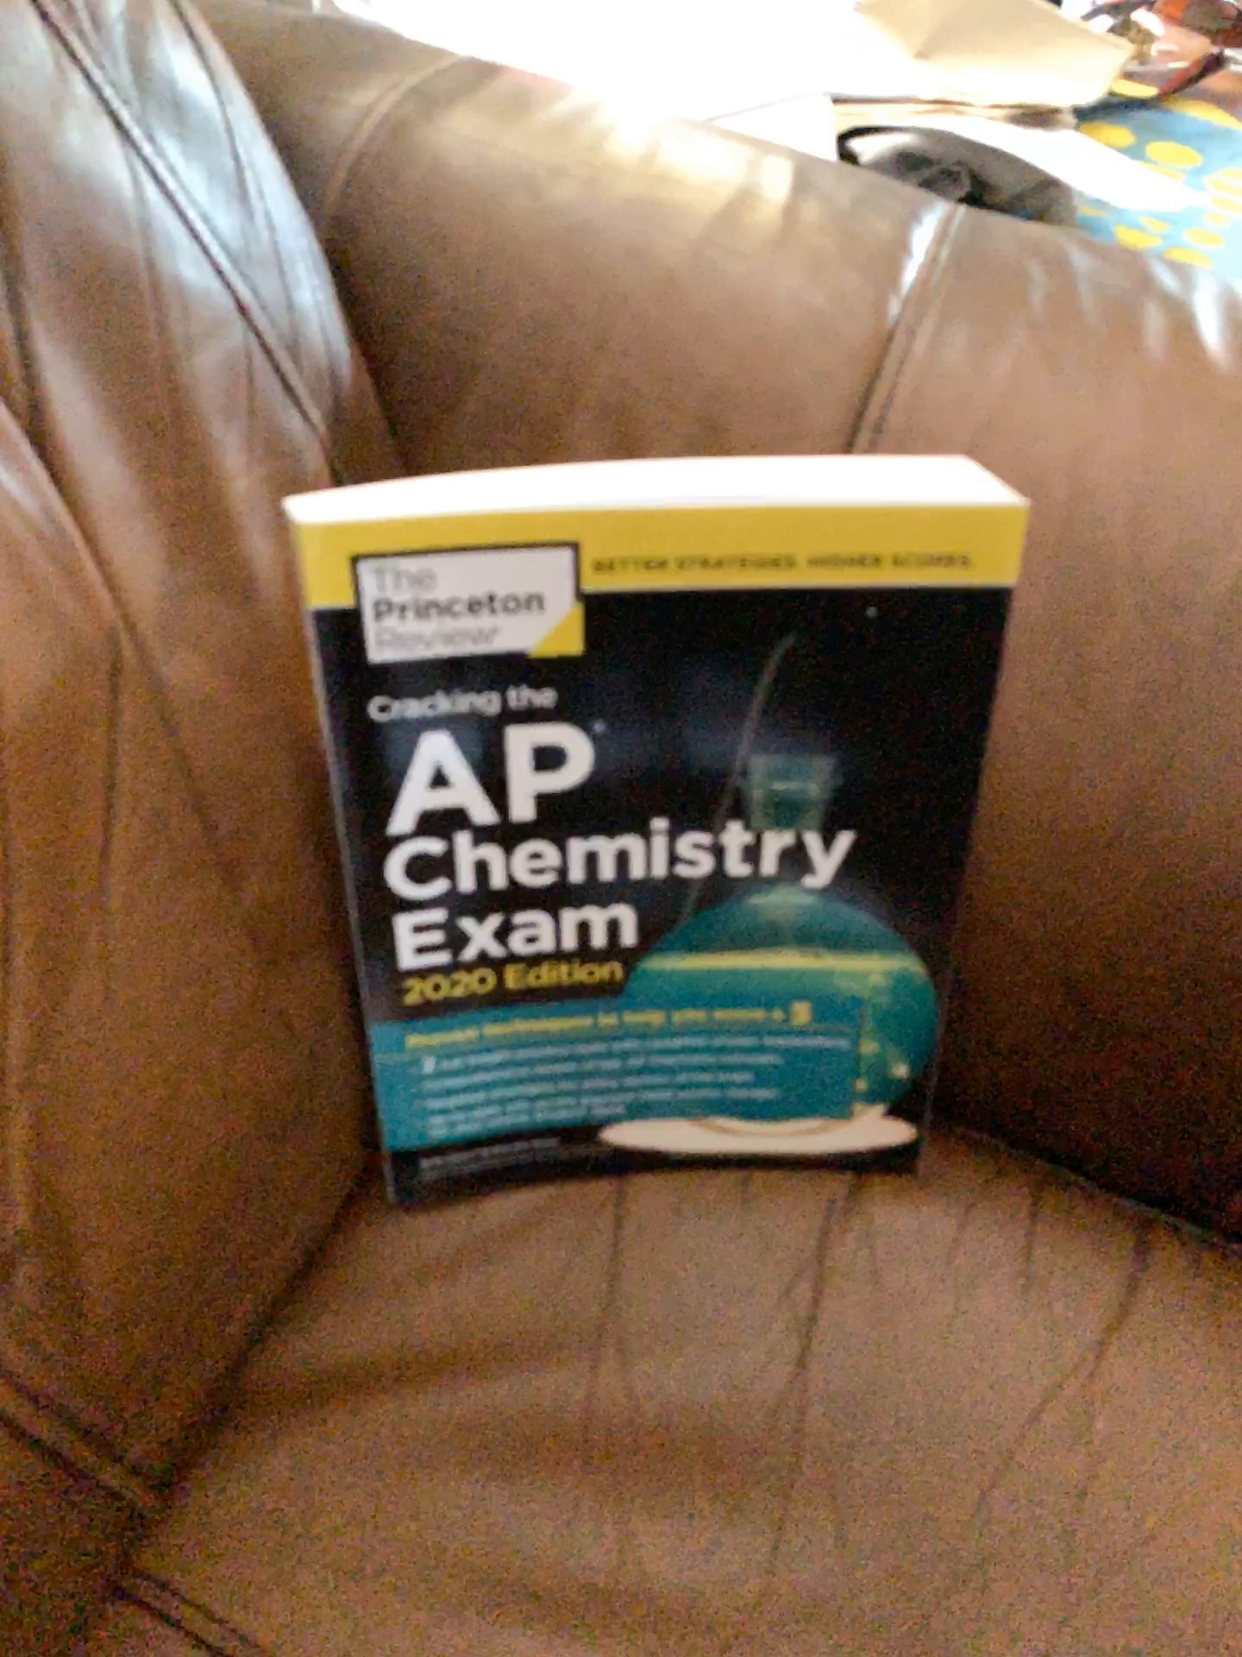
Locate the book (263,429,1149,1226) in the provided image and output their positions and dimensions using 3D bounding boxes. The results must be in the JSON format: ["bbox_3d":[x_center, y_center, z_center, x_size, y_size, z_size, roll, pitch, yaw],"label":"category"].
[{"bbox_3d":[0.019,0.022,0.449,0.240,0.319,0.040,-2,38,-6],"label":"book"}]
